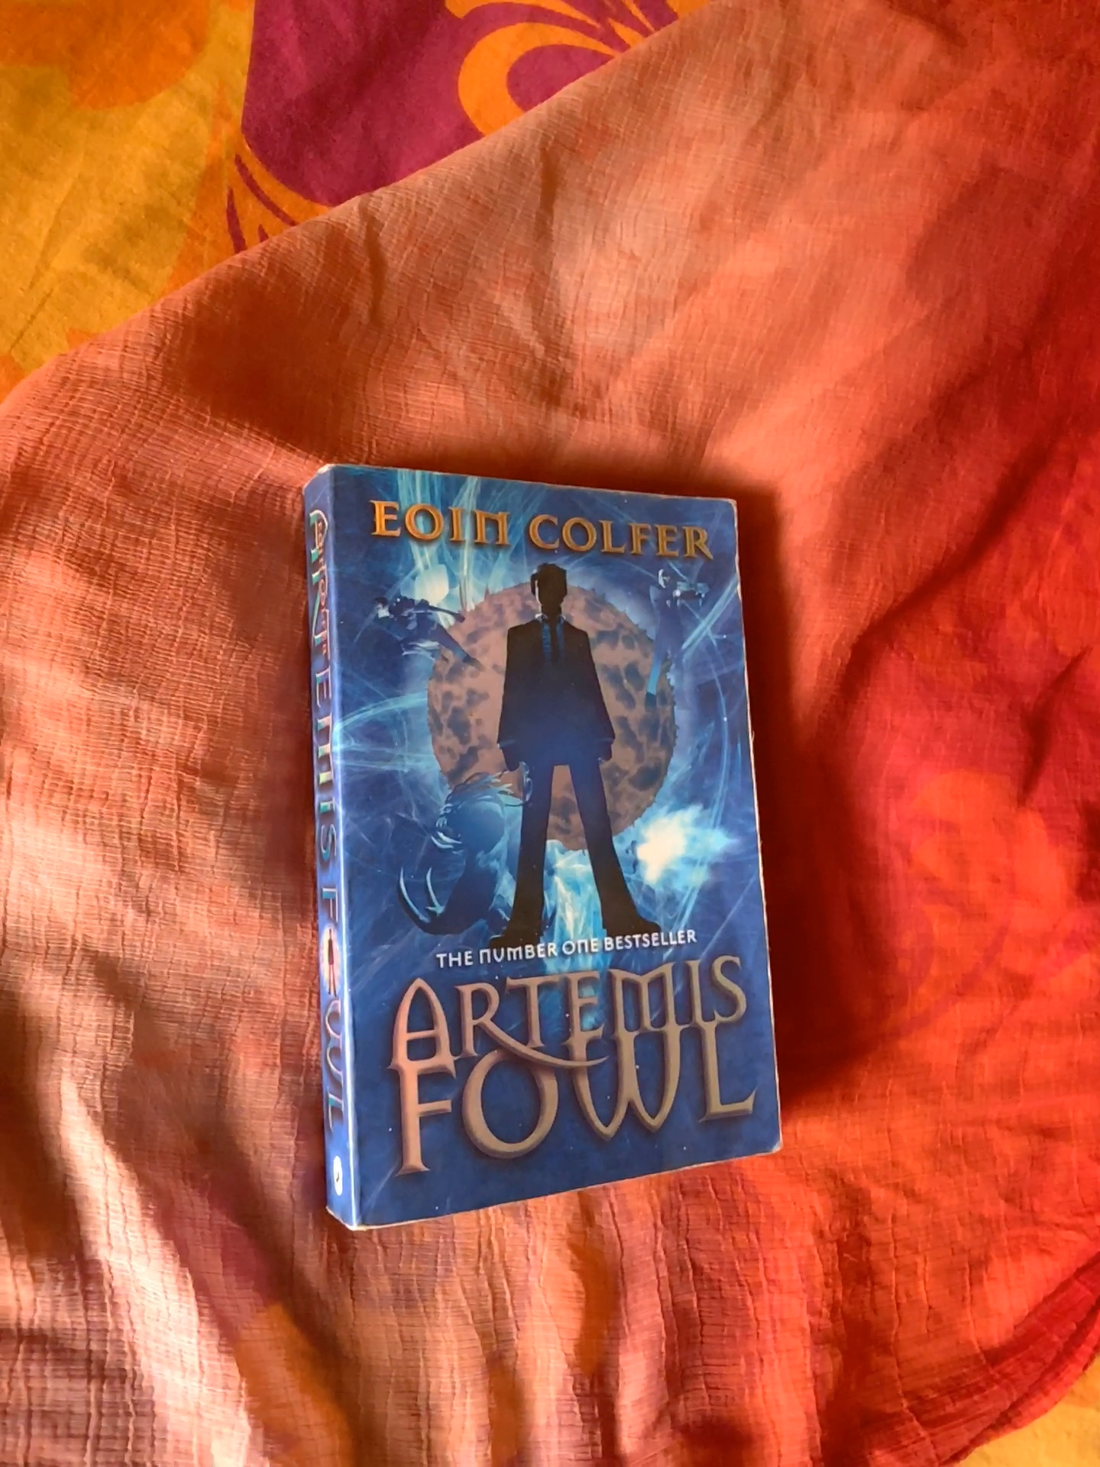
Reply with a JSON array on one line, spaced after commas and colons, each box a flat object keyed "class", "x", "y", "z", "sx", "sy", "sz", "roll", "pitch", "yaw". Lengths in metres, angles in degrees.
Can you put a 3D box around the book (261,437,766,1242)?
[{"class": "book", "x": -0.009, "y": 0.024, "z": 0.309, "sx": 0.130, "sy": 0.030, "sz": 0.190, "roll": 0, "pitch": 87, "yaw": -23}]
